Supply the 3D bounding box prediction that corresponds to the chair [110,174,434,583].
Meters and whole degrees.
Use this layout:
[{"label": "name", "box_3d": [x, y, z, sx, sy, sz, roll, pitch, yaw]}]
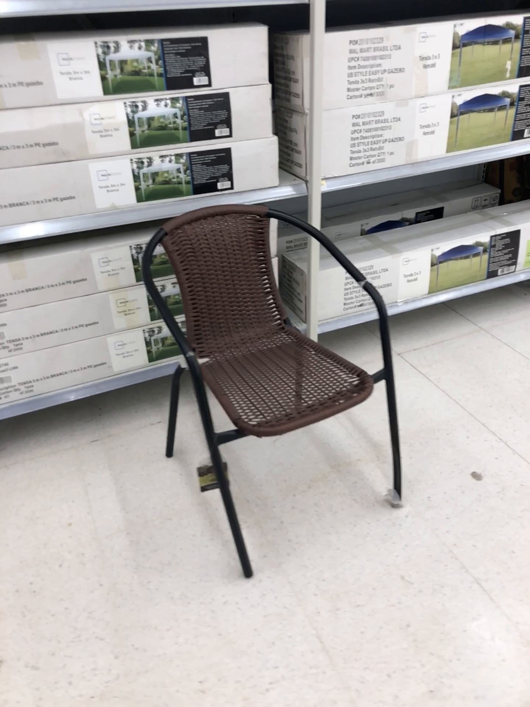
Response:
[{"label": "chair", "box_3d": [0.004, 0.021, 1.414, 0.481, 0.715, 0.533, -20, 35, -25]}]
